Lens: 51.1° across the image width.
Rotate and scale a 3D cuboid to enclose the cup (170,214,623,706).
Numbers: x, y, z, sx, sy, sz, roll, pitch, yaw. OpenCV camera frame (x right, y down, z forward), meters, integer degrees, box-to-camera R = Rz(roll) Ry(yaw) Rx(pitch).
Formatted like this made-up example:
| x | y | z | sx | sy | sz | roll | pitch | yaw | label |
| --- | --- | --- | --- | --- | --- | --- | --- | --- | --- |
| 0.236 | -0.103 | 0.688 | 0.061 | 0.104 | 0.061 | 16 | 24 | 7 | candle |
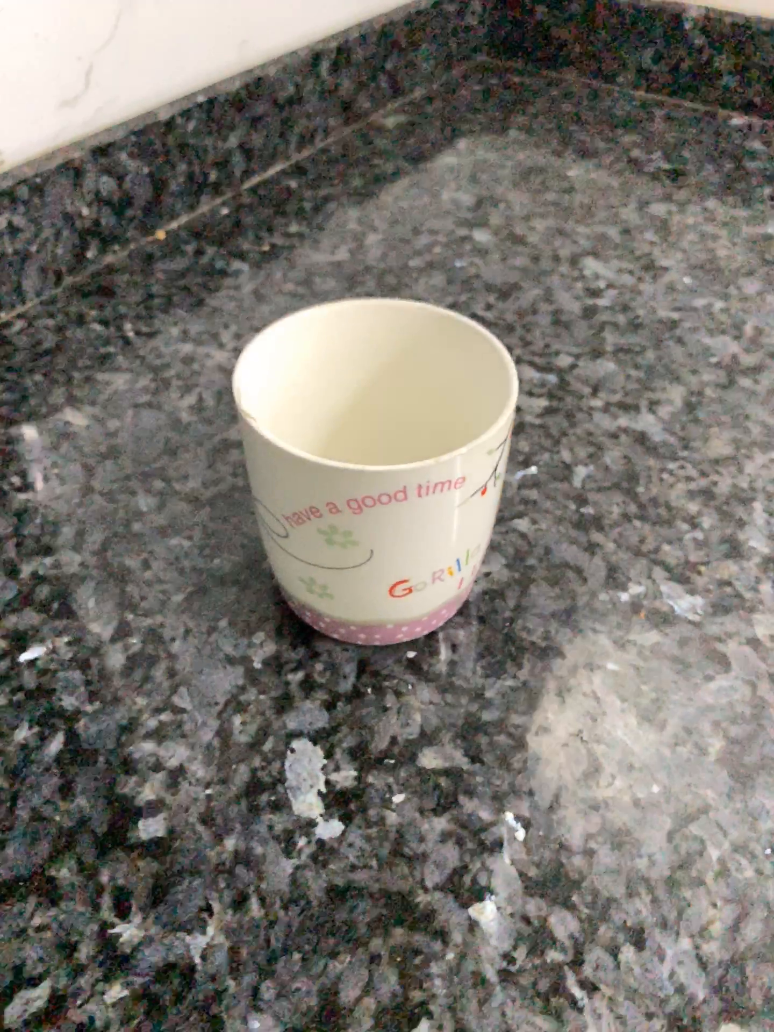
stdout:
| x | y | z | sx | sy | sz | roll | pitch | yaw | label |
| --- | --- | --- | --- | --- | --- | --- | --- | --- | --- |
| 0.008 | -0.024 | 0.269 | 0.080 | 0.089 | 0.121 | 26 | 51 | 22 | cup |
